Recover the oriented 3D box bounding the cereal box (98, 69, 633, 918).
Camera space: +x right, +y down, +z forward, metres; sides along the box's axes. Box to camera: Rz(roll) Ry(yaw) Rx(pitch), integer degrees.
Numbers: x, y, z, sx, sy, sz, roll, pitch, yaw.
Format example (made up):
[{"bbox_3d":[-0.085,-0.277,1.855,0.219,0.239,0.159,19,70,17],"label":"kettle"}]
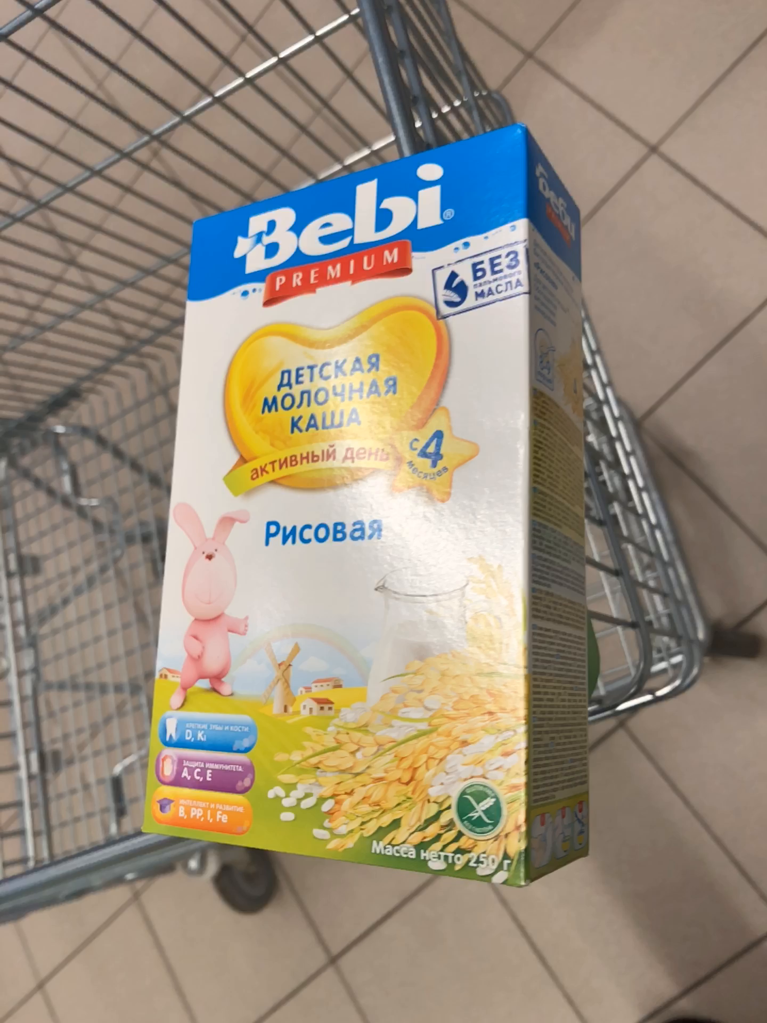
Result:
[{"bbox_3d":[-0.007,-0.005,0.266,0.151,0.050,0.210,-5,76,32],"label":"cereal box"}]
